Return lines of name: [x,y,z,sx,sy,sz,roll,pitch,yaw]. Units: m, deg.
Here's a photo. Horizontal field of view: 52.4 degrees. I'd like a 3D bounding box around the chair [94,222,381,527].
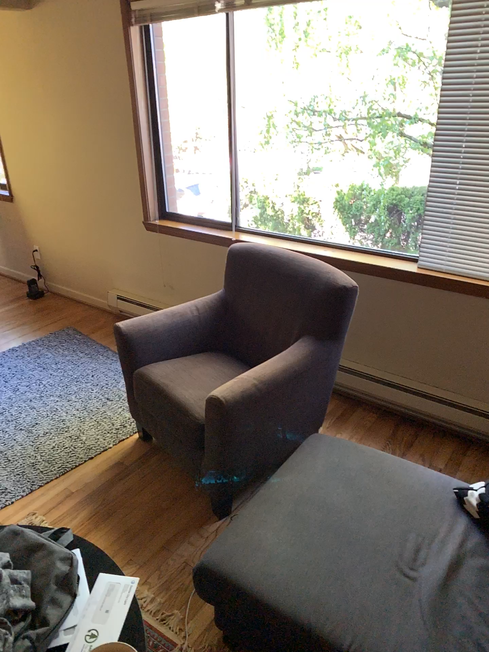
chair: [-0.057,0.101,2.213,0.800,0.875,0.884,-18,30,-36]
